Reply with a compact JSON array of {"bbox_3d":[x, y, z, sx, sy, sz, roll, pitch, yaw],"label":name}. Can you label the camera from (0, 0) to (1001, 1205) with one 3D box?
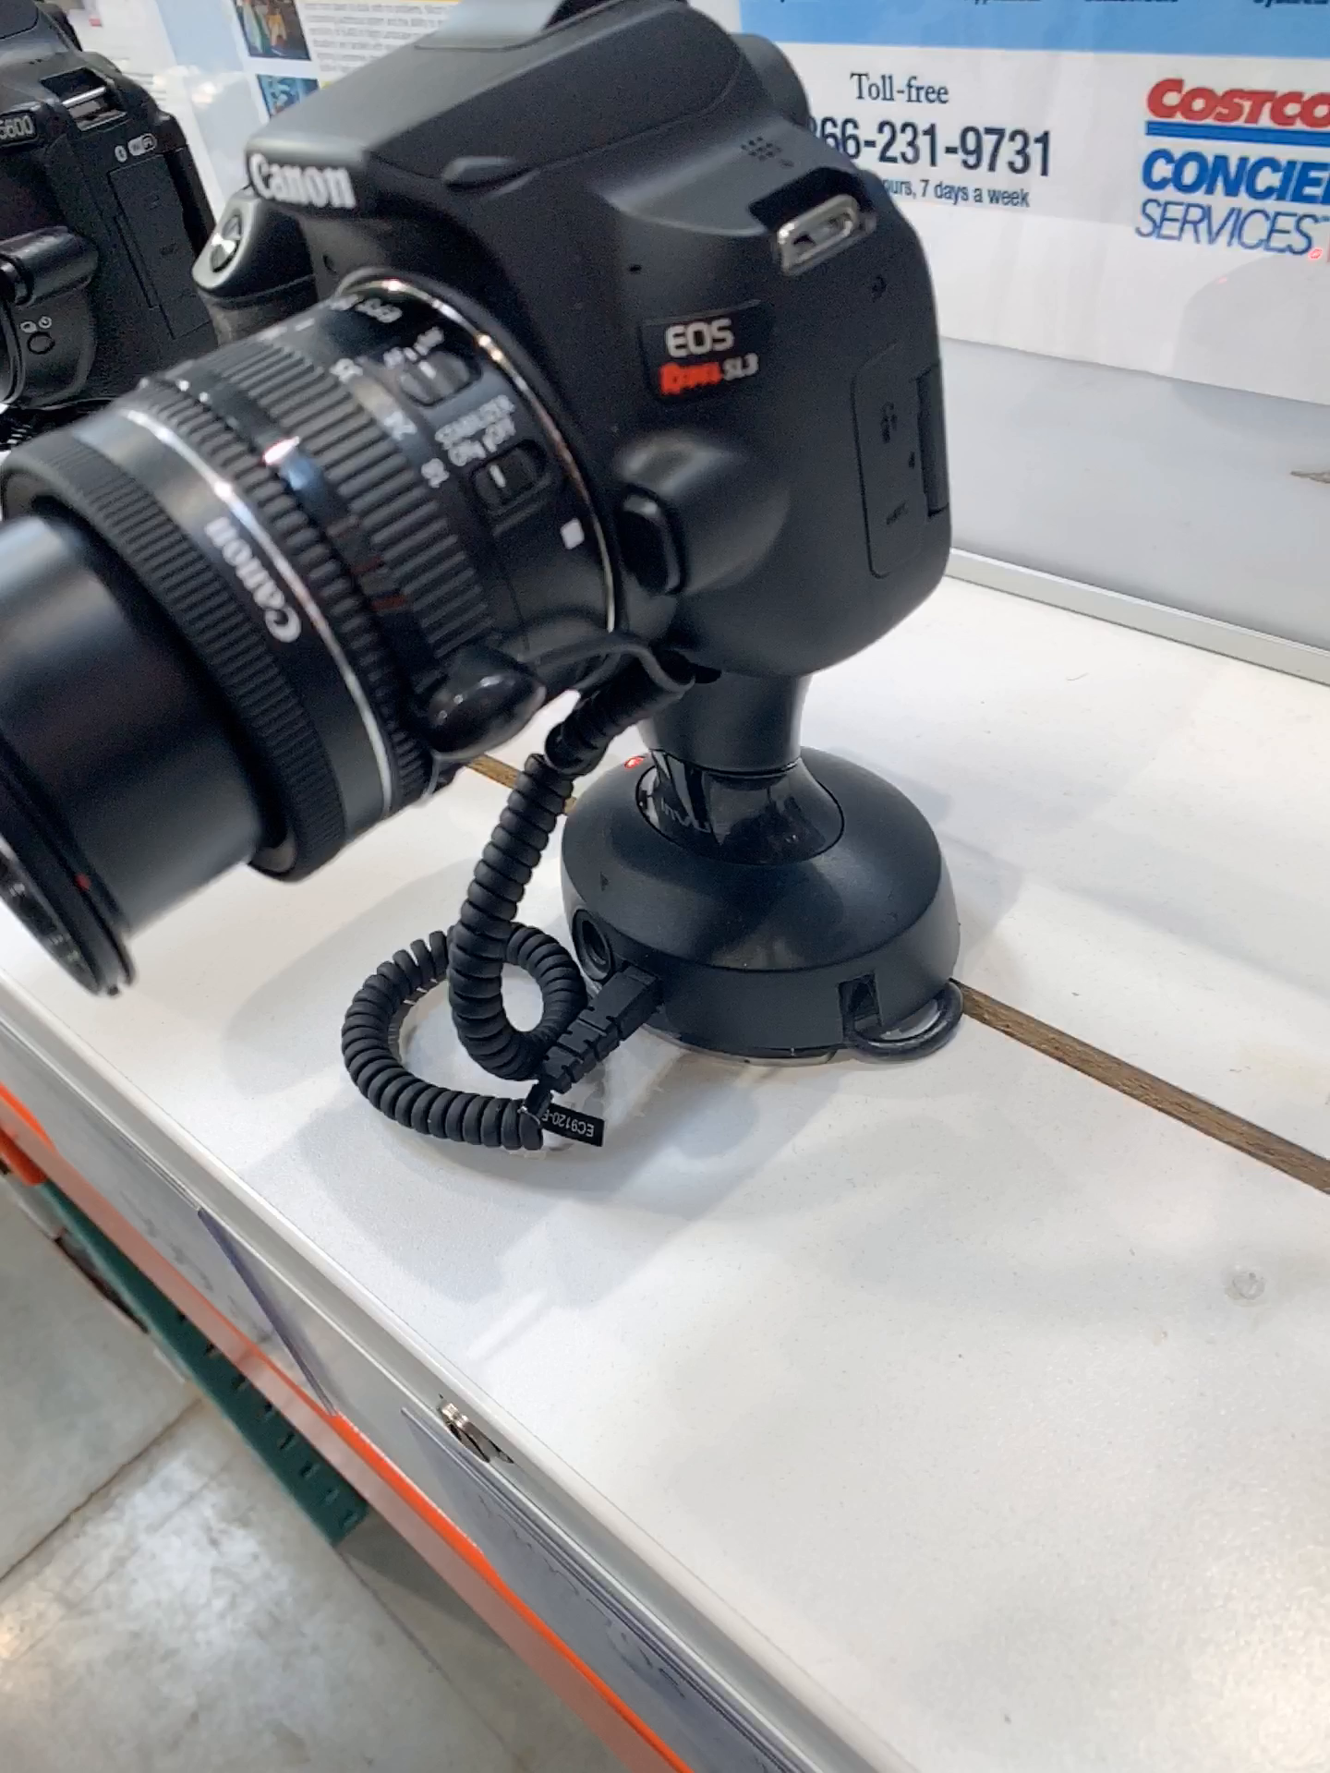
[{"bbox_3d":[-0.046,-0.059,0.183,0.120,0.079,0.141,26,54,35],"label":"camera"}]
